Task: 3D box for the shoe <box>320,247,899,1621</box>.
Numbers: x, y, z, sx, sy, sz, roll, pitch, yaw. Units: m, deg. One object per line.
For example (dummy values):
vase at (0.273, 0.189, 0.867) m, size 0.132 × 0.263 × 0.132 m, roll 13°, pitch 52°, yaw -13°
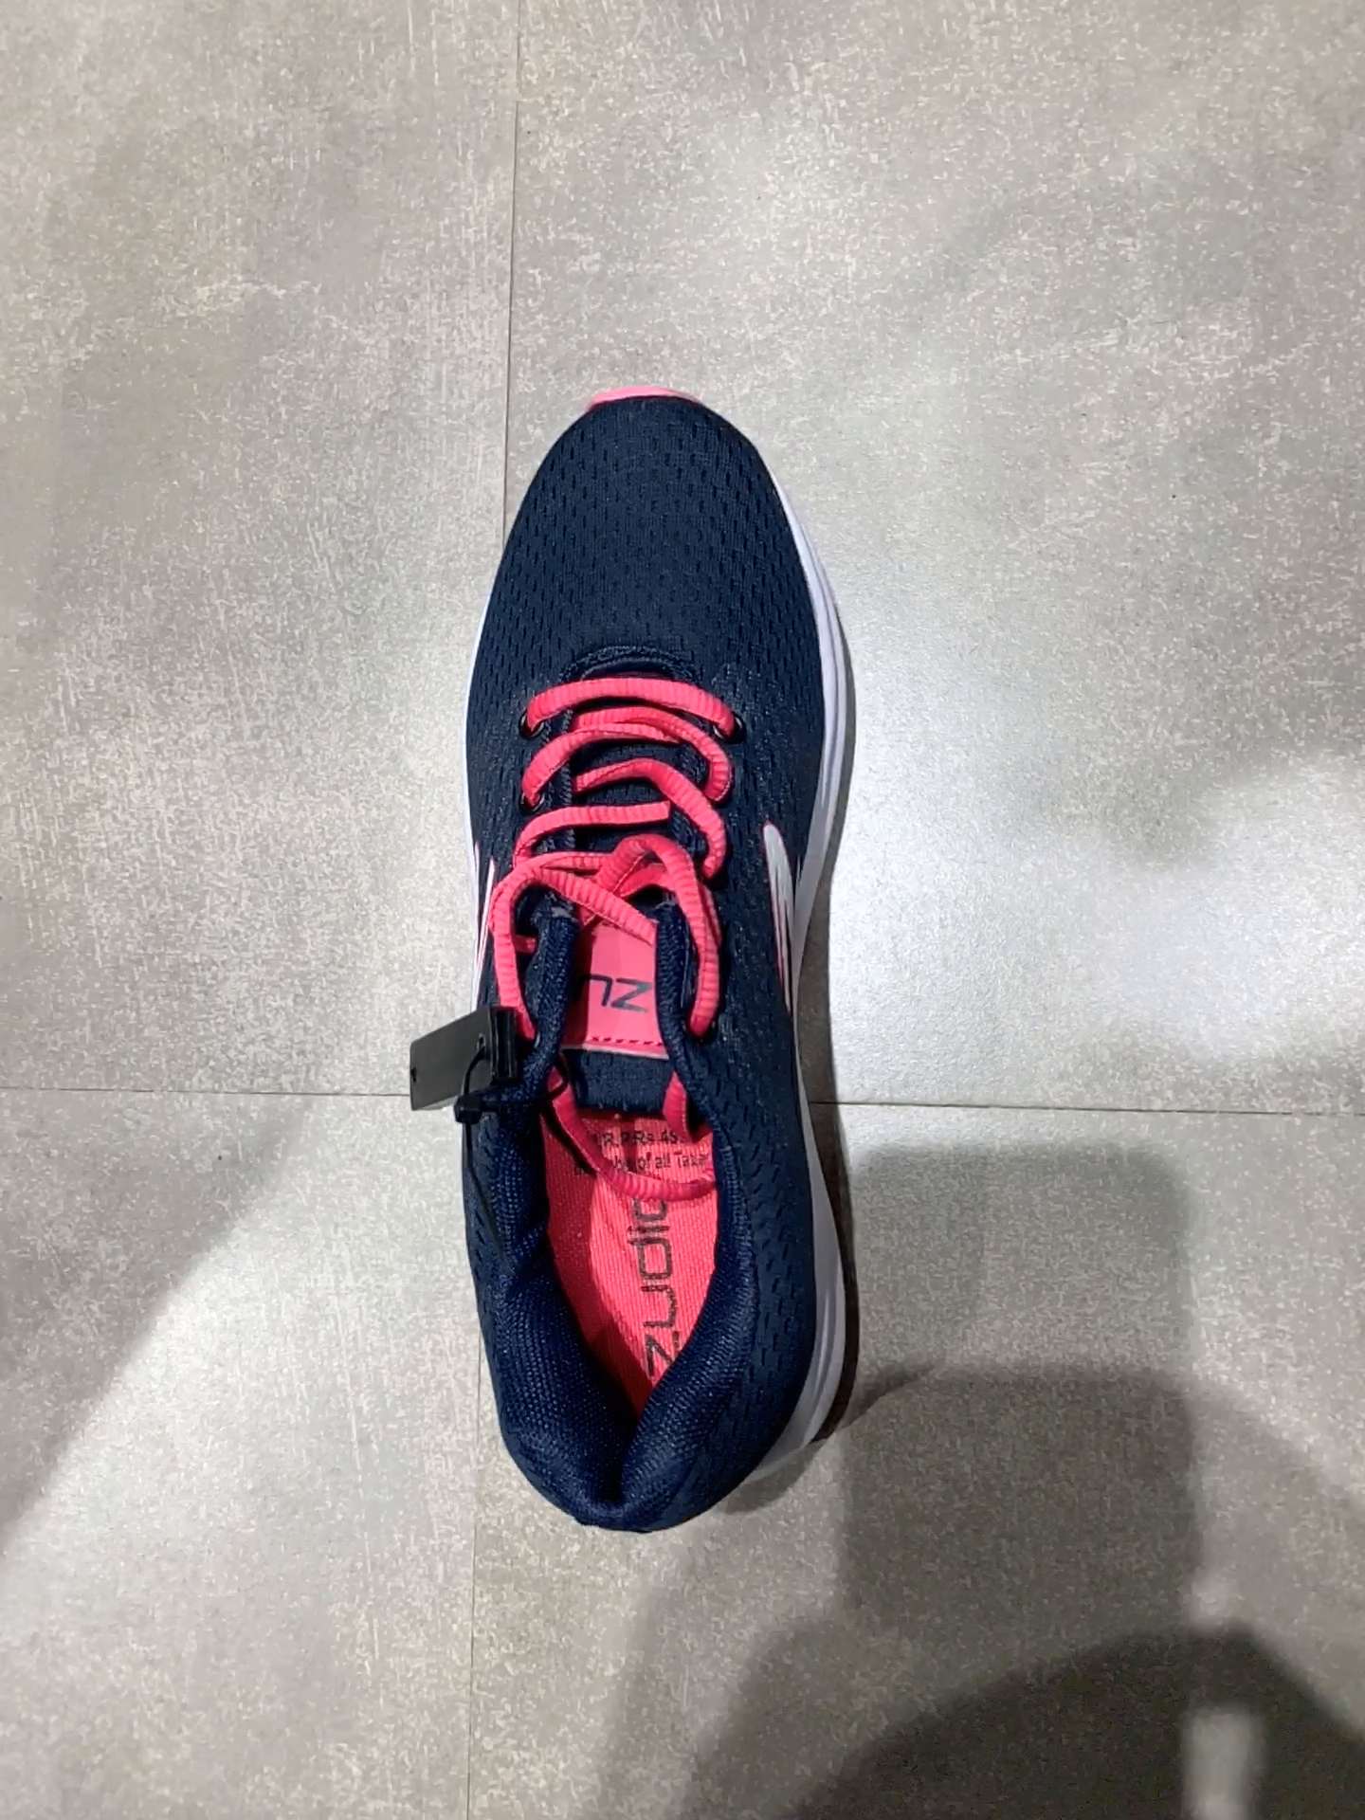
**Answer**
shoe at (-0.011, 0.006, 0.302) m, size 0.094 × 0.090 × 0.248 m, roll -5°, pitch 83°, yaw 9°
